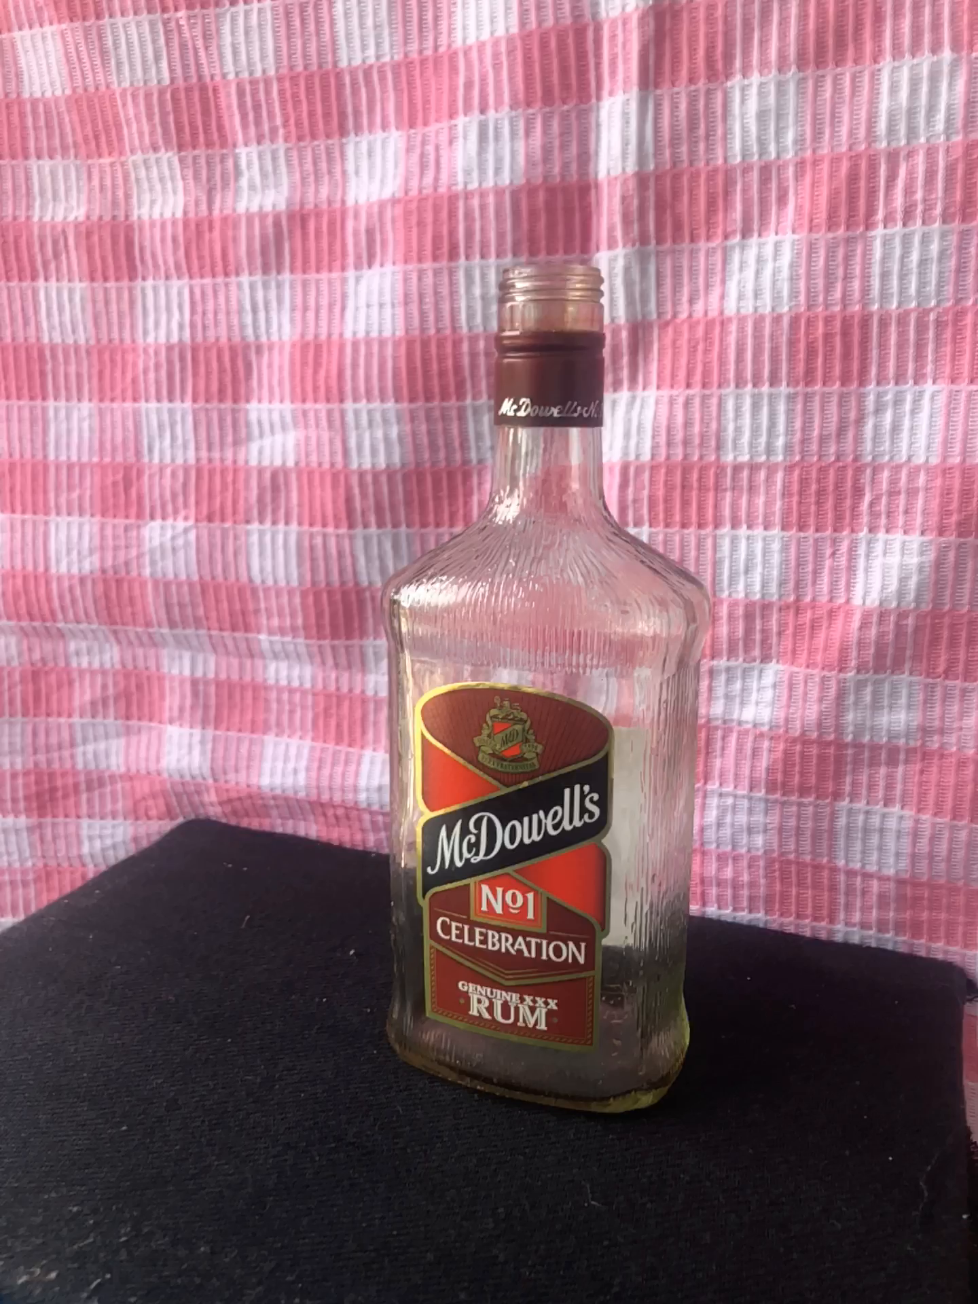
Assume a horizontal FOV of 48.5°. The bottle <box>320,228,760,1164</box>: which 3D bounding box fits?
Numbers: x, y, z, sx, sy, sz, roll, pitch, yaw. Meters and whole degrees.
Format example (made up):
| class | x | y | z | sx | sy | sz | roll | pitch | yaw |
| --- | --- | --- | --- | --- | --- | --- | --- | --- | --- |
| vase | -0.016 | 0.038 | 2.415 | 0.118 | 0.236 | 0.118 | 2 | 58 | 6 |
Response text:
| class | x | y | z | sx | sy | sz | roll | pitch | yaw |
| --- | --- | --- | --- | --- | --- | --- | --- | --- | --- |
| bottle | 0.014 | 0.012 | 0.308 | 0.100 | 0.239 | 0.060 | 6 | 16 | 18 |
